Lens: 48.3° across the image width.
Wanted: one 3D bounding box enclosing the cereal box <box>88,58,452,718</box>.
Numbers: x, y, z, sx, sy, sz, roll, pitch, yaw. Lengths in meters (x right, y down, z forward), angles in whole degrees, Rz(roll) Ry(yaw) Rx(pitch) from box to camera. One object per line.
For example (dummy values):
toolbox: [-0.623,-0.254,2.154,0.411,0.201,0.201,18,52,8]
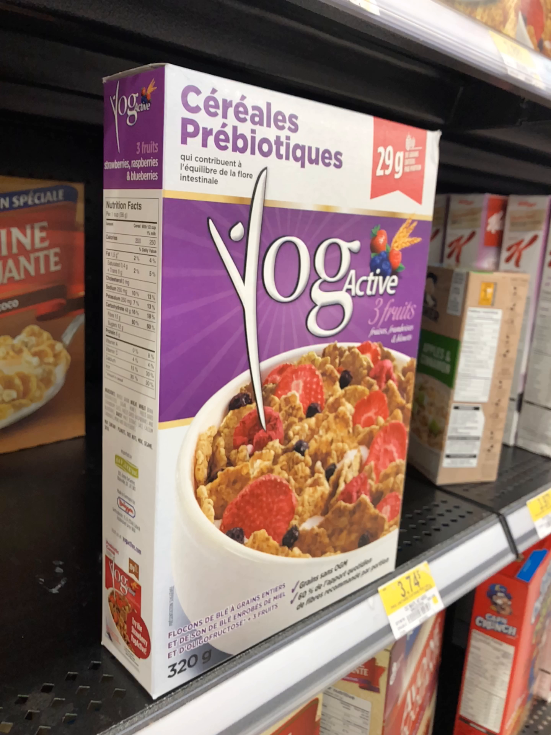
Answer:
cereal box: [0.001,0.008,0.337,0.190,0.279,0.060,-8,17,-42]
